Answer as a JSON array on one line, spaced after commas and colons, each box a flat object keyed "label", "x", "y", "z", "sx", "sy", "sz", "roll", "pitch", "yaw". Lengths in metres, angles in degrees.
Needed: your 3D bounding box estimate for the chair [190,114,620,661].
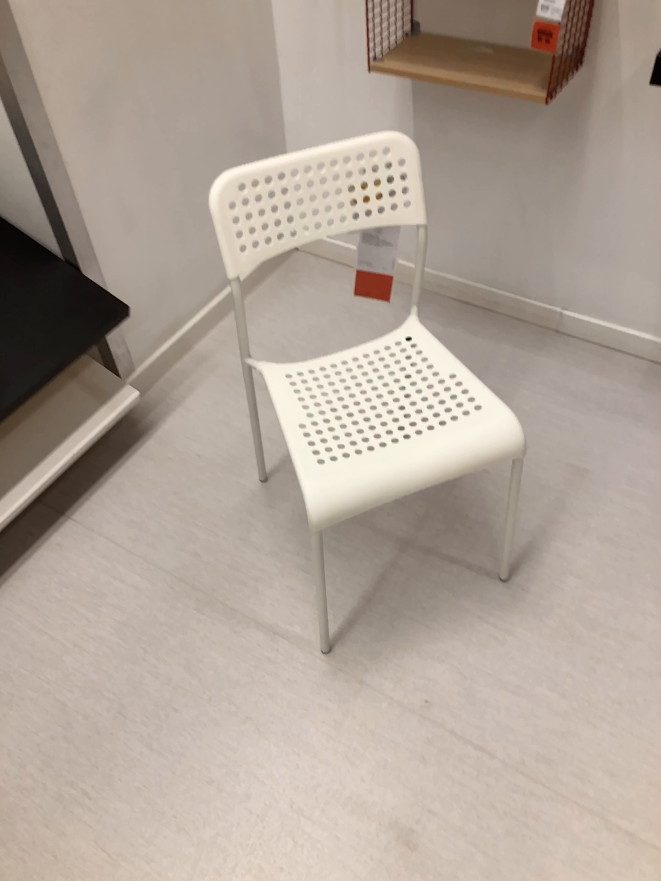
[{"label": "chair", "x": 0.090, "y": -0.061, "z": 1.255, "sx": 0.420, "sy": 0.735, "sz": 0.473, "roll": -18, "pitch": 50, "yaw": -12}]
